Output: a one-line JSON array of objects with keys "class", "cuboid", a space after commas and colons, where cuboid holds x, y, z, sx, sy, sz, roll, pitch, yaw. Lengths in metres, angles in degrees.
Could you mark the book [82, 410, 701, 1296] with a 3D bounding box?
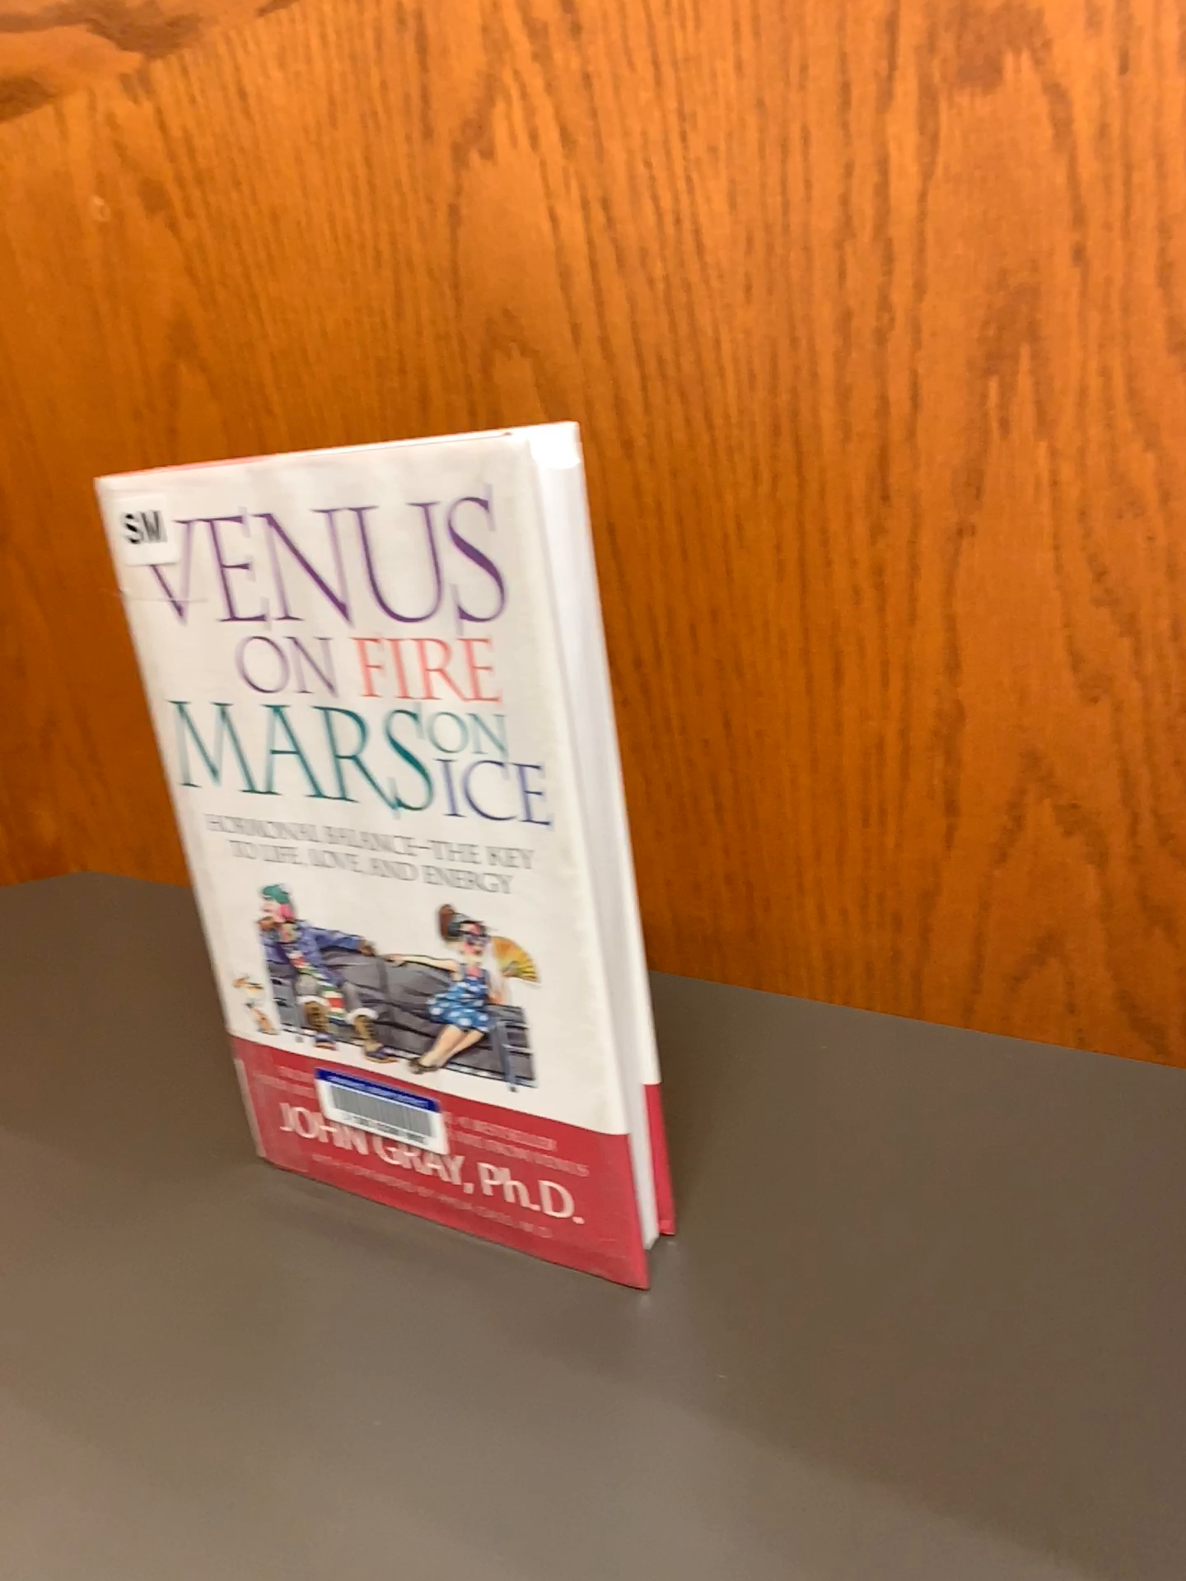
[{"class": "book", "cuboid": [-0.056, 0.017, 0.341, 0.154, 0.220, 0.033, 4, 20, 34]}]
